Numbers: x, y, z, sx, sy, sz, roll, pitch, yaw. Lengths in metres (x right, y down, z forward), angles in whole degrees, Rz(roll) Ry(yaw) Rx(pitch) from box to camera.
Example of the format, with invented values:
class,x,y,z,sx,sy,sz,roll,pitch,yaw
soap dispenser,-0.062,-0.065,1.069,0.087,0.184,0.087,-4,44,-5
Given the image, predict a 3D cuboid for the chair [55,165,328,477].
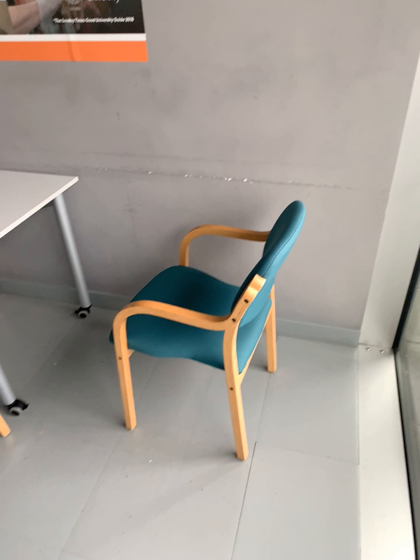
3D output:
class,x,y,z,sx,sy,sz,roll,pitch,yaw
chair,0.013,0.087,1.506,0.641,0.723,0.686,9,36,16
